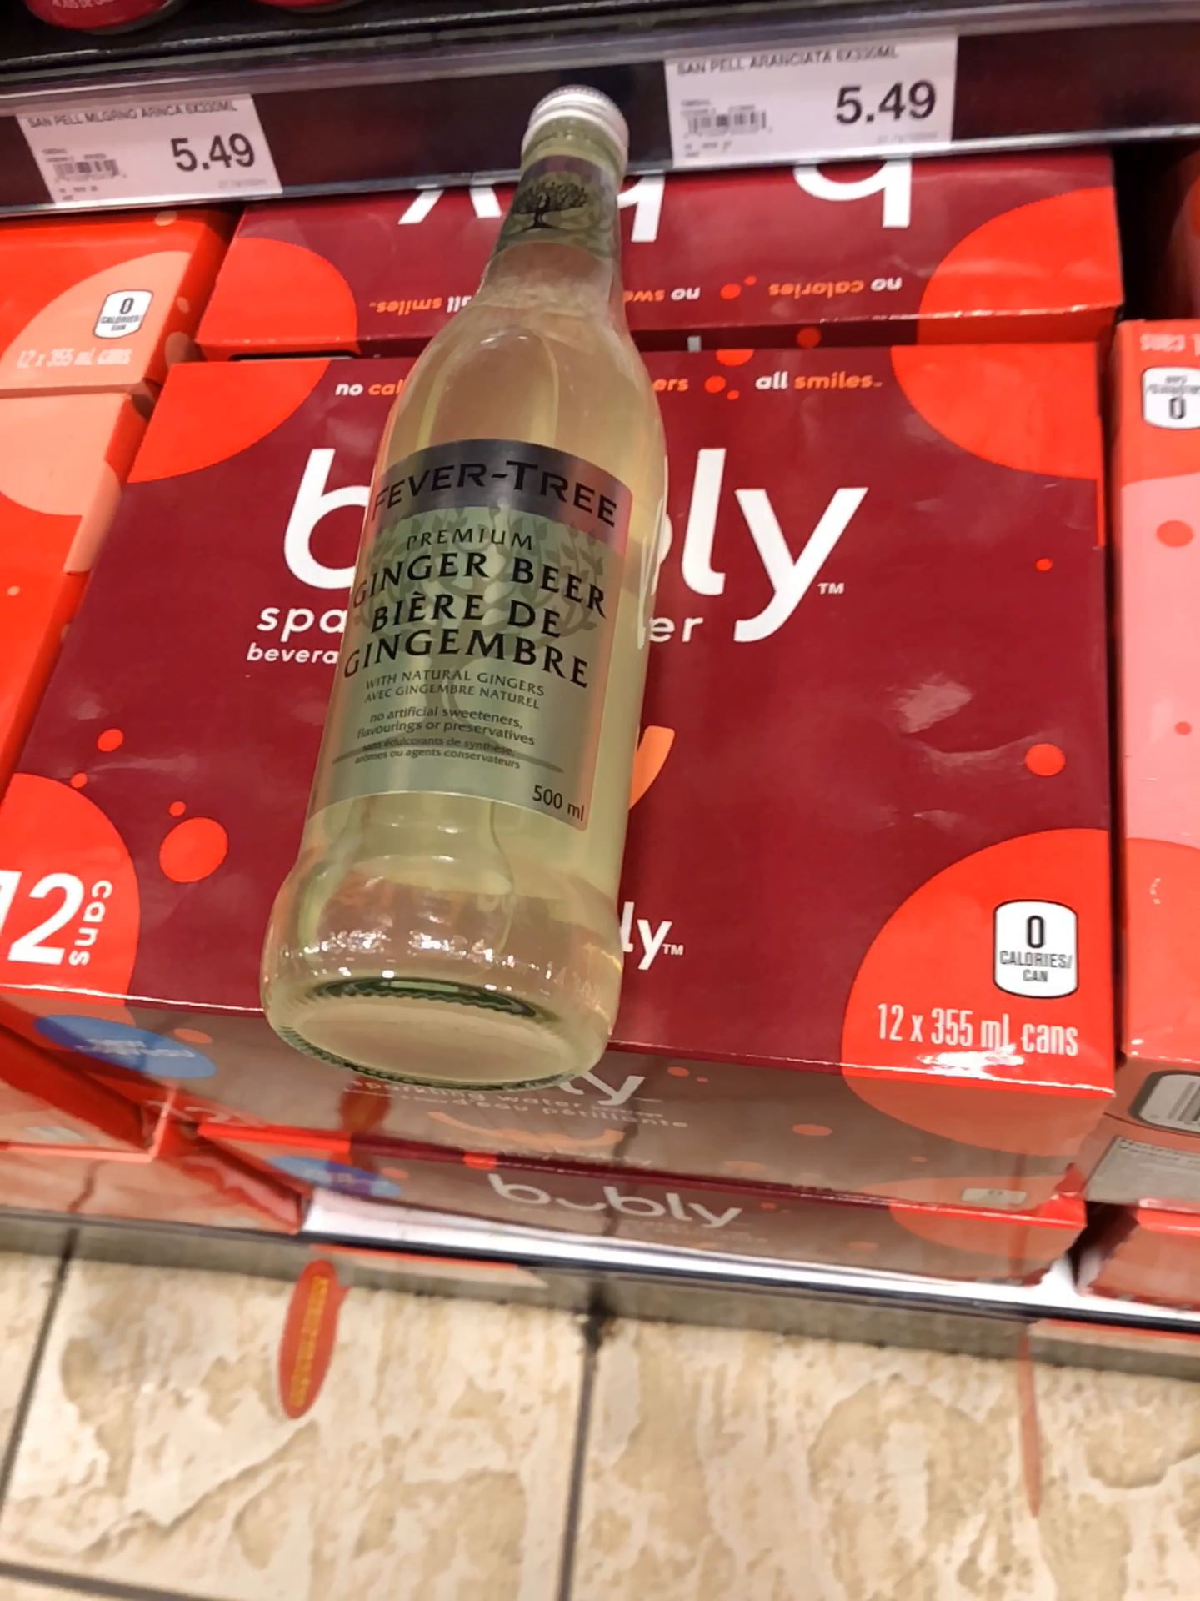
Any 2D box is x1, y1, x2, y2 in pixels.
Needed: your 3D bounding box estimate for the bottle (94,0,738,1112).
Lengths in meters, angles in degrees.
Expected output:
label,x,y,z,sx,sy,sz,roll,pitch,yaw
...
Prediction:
label,x,y,z,sx,sy,sz,roll,pitch,yaw
bottle,-0.019,-0.078,0.294,0.080,0.080,0.270,0,62,11
